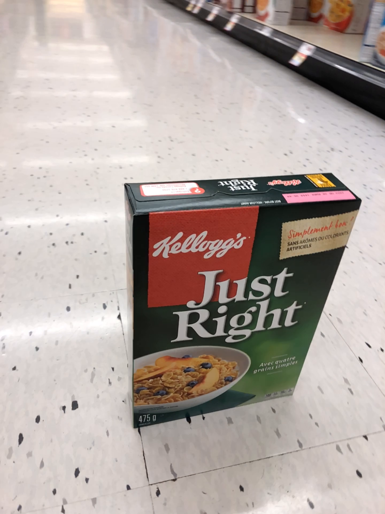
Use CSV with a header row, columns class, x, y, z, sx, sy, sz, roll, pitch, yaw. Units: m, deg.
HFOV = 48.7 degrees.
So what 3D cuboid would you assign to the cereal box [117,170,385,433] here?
class,x,y,z,sx,sy,sz,roll,pitch,yaw
cereal box,0.039,0.054,0.417,0.210,0.268,0.050,-5,37,-14
